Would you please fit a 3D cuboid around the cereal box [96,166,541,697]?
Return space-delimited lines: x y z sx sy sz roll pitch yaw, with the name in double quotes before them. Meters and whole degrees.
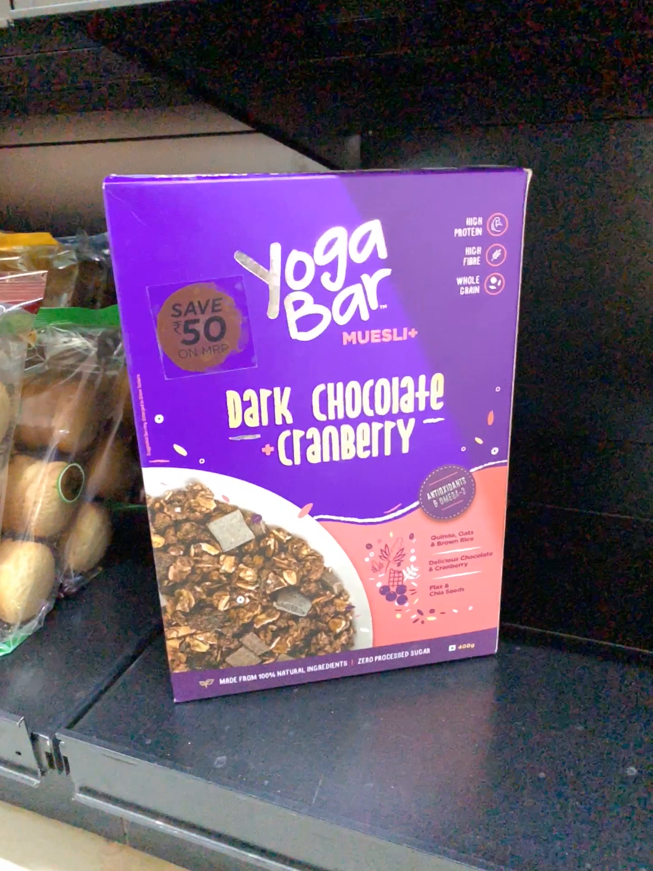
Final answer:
"cereal box" -0.001 -0.001 0.315 0.170 0.229 0.050 -4 19 -9
